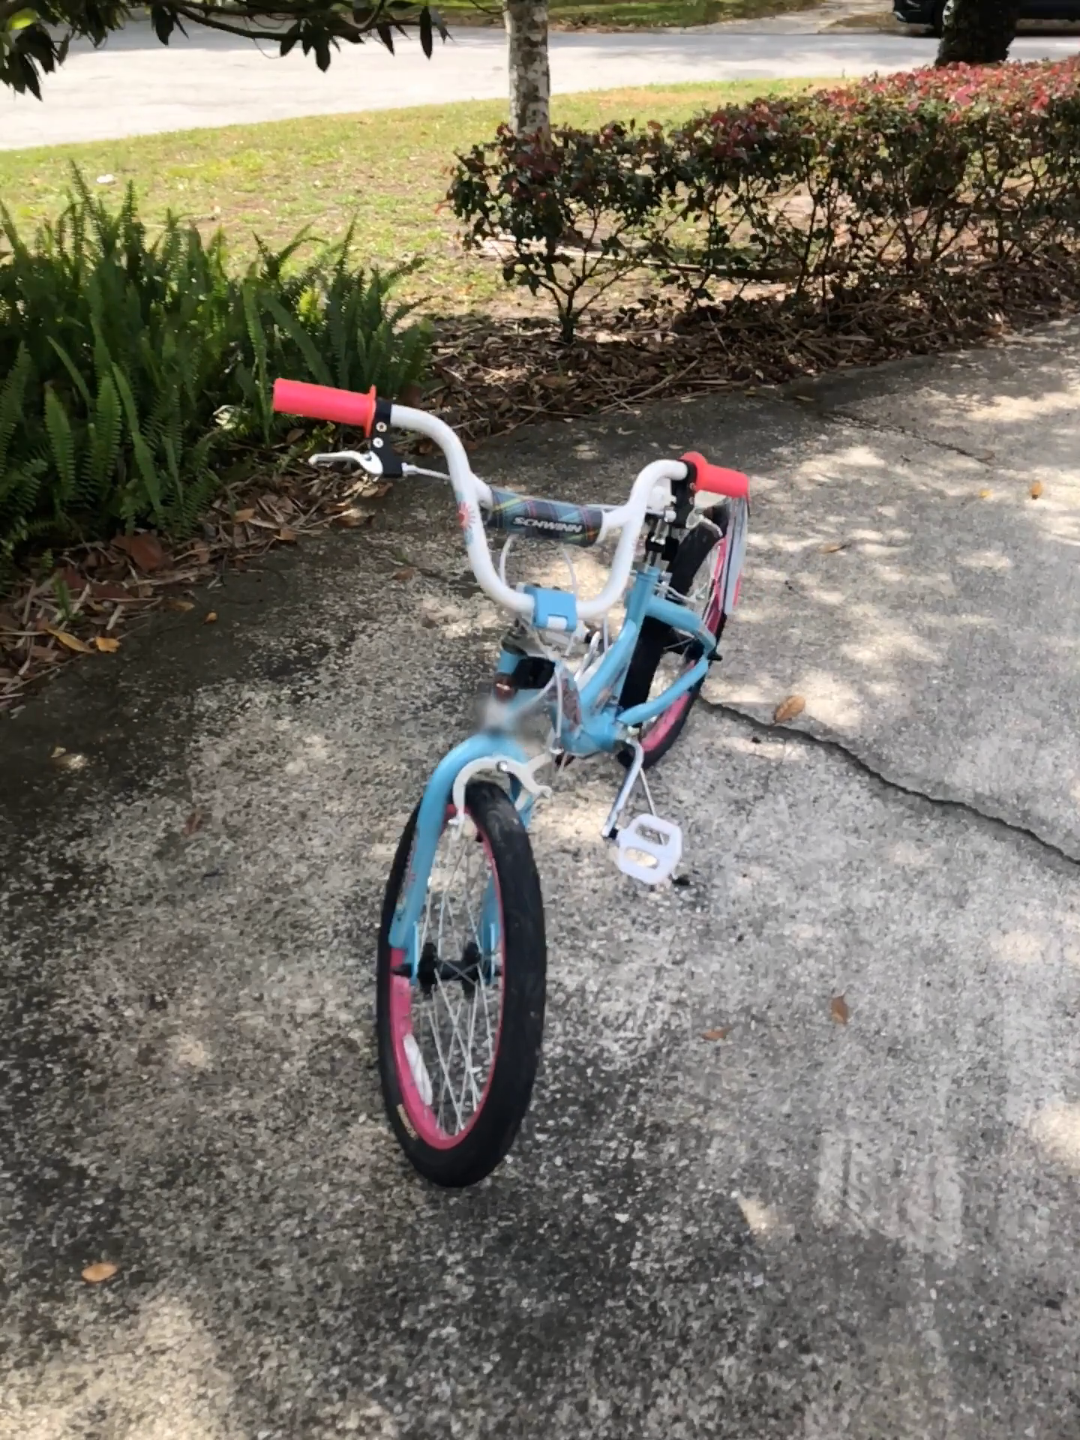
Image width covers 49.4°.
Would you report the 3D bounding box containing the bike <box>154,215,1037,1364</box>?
[{"bbox_3d":[0.196,-0.103,1.659,0.700,0.923,1.315,9,33,16],"label":"bike"}]
